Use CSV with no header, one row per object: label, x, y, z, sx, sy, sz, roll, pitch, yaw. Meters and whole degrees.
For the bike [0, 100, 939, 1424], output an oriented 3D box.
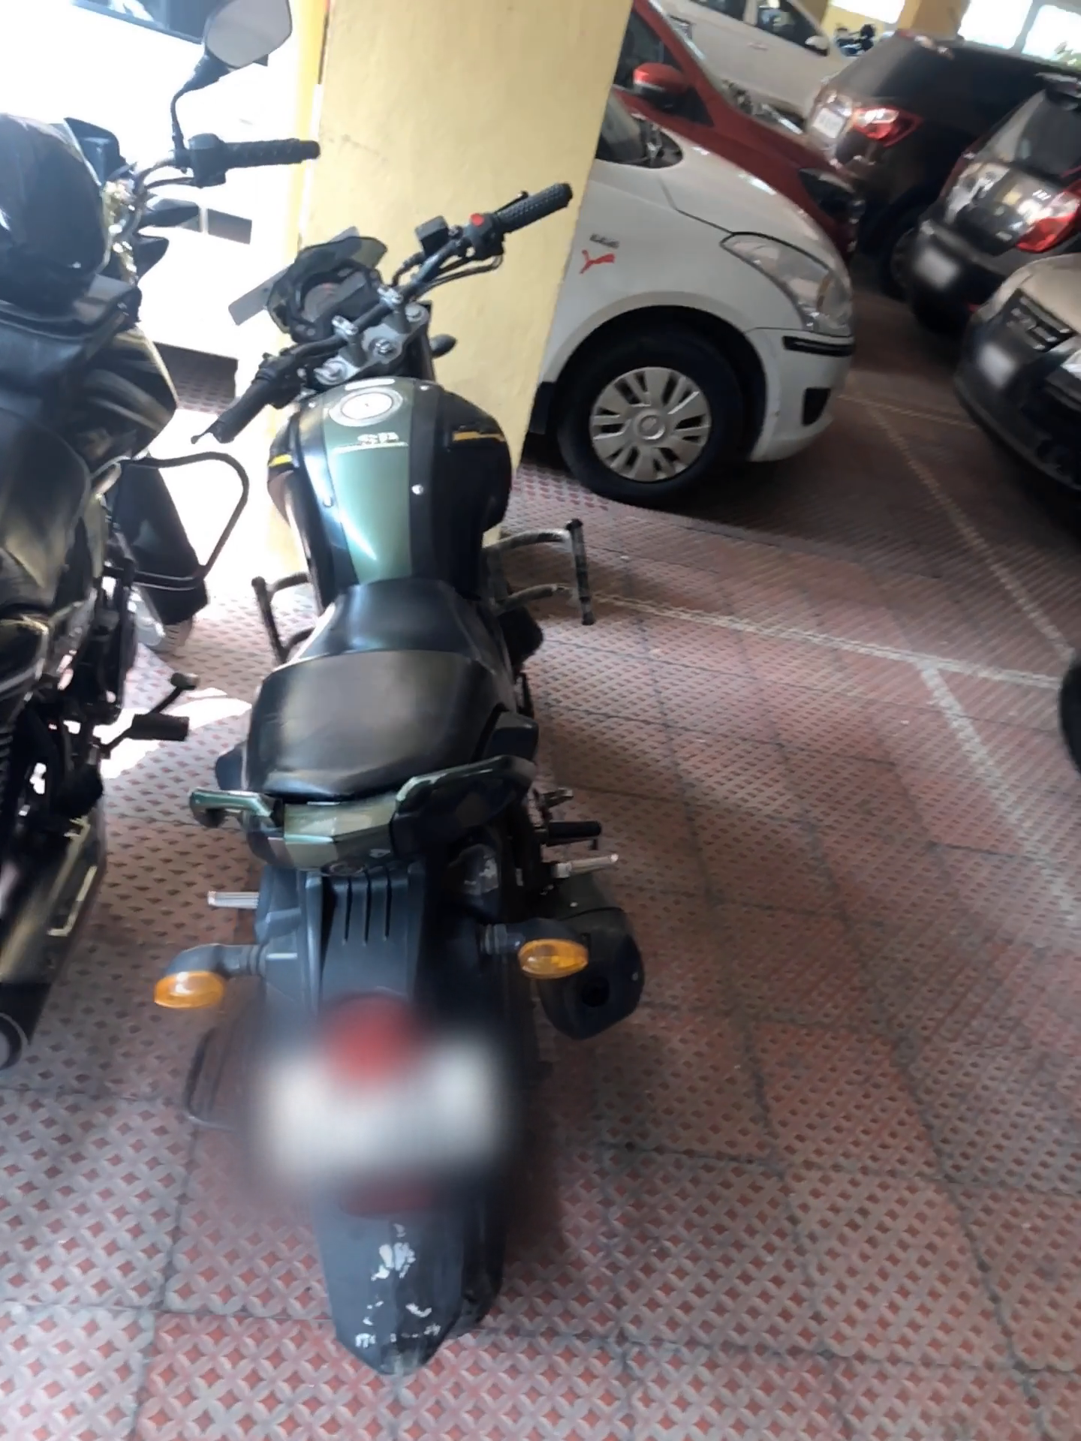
bike,-0.380,-0.145,1.775,0.738,1.090,1.817,6,32,-16
